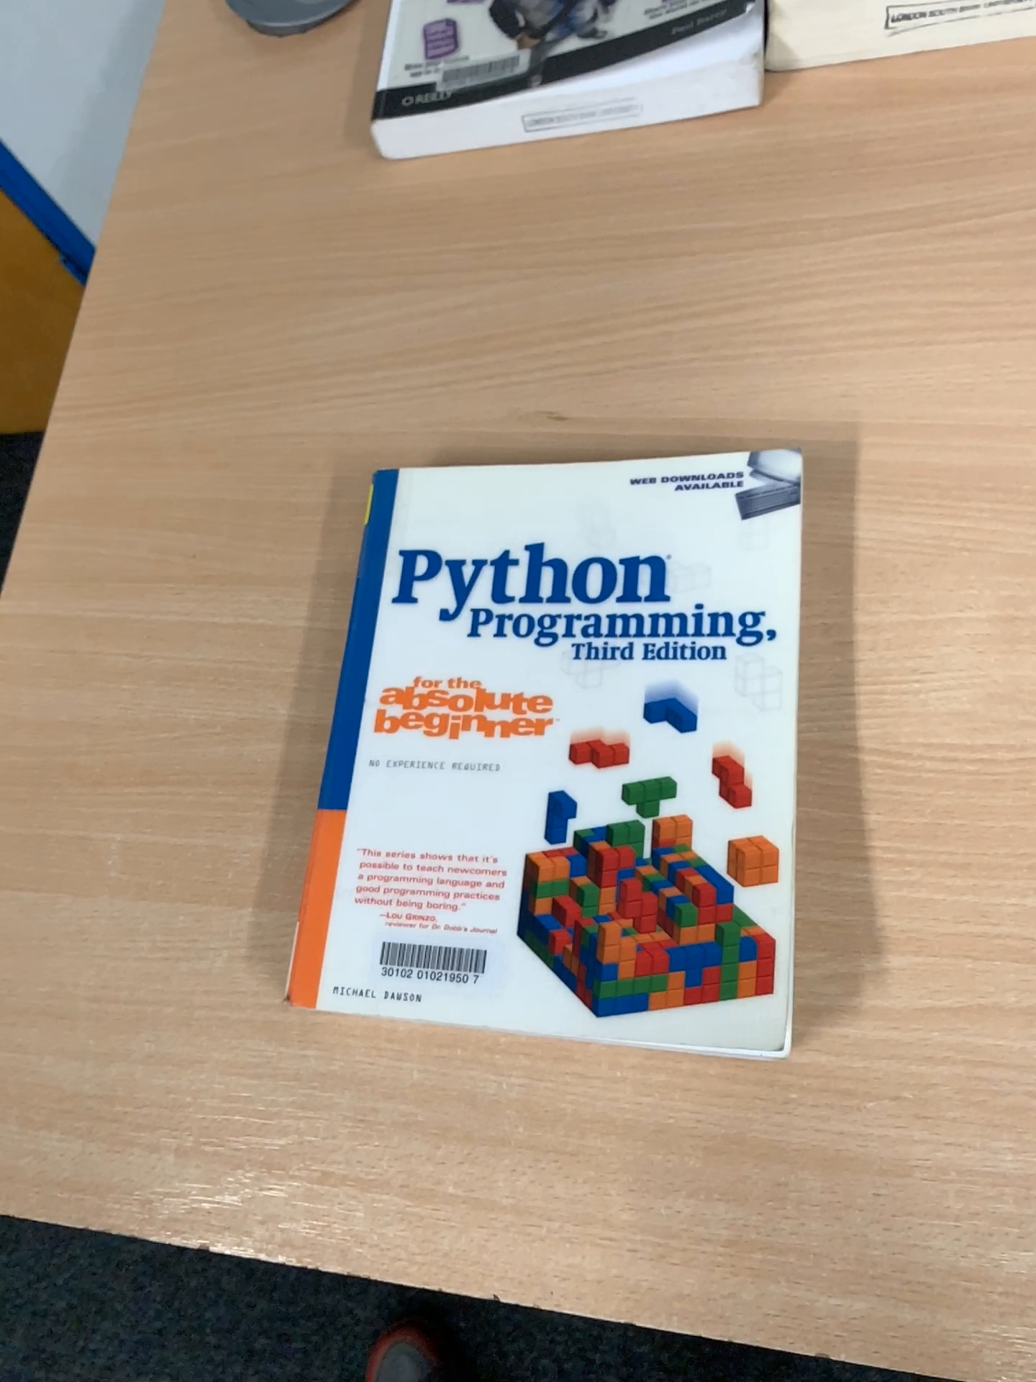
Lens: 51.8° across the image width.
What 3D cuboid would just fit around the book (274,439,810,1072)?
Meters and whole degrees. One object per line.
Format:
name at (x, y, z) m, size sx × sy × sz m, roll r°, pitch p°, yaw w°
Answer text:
book at (0.016, 0.016, 0.399) m, size 0.174 × 0.039 × 0.219 m, roll 1°, pitch 70°, yaw 17°
